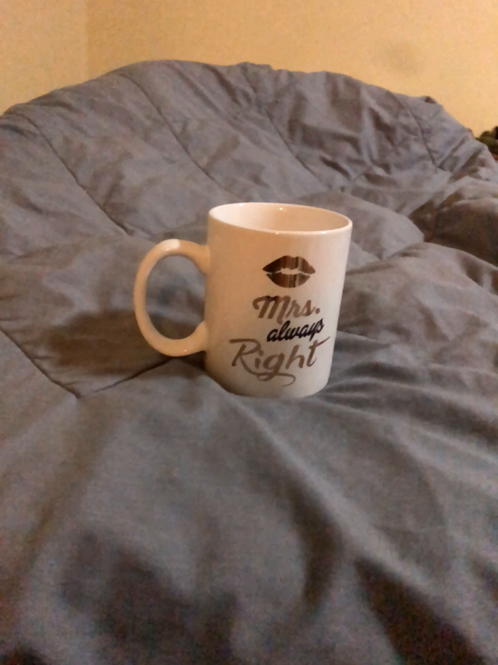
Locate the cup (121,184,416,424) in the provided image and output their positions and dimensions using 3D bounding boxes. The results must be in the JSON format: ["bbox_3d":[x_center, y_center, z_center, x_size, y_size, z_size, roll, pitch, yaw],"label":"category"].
[{"bbox_3d":[0.000,-0.023,0.346,0.150,0.110,0.110,0,25,-11],"label":"cup"}]
